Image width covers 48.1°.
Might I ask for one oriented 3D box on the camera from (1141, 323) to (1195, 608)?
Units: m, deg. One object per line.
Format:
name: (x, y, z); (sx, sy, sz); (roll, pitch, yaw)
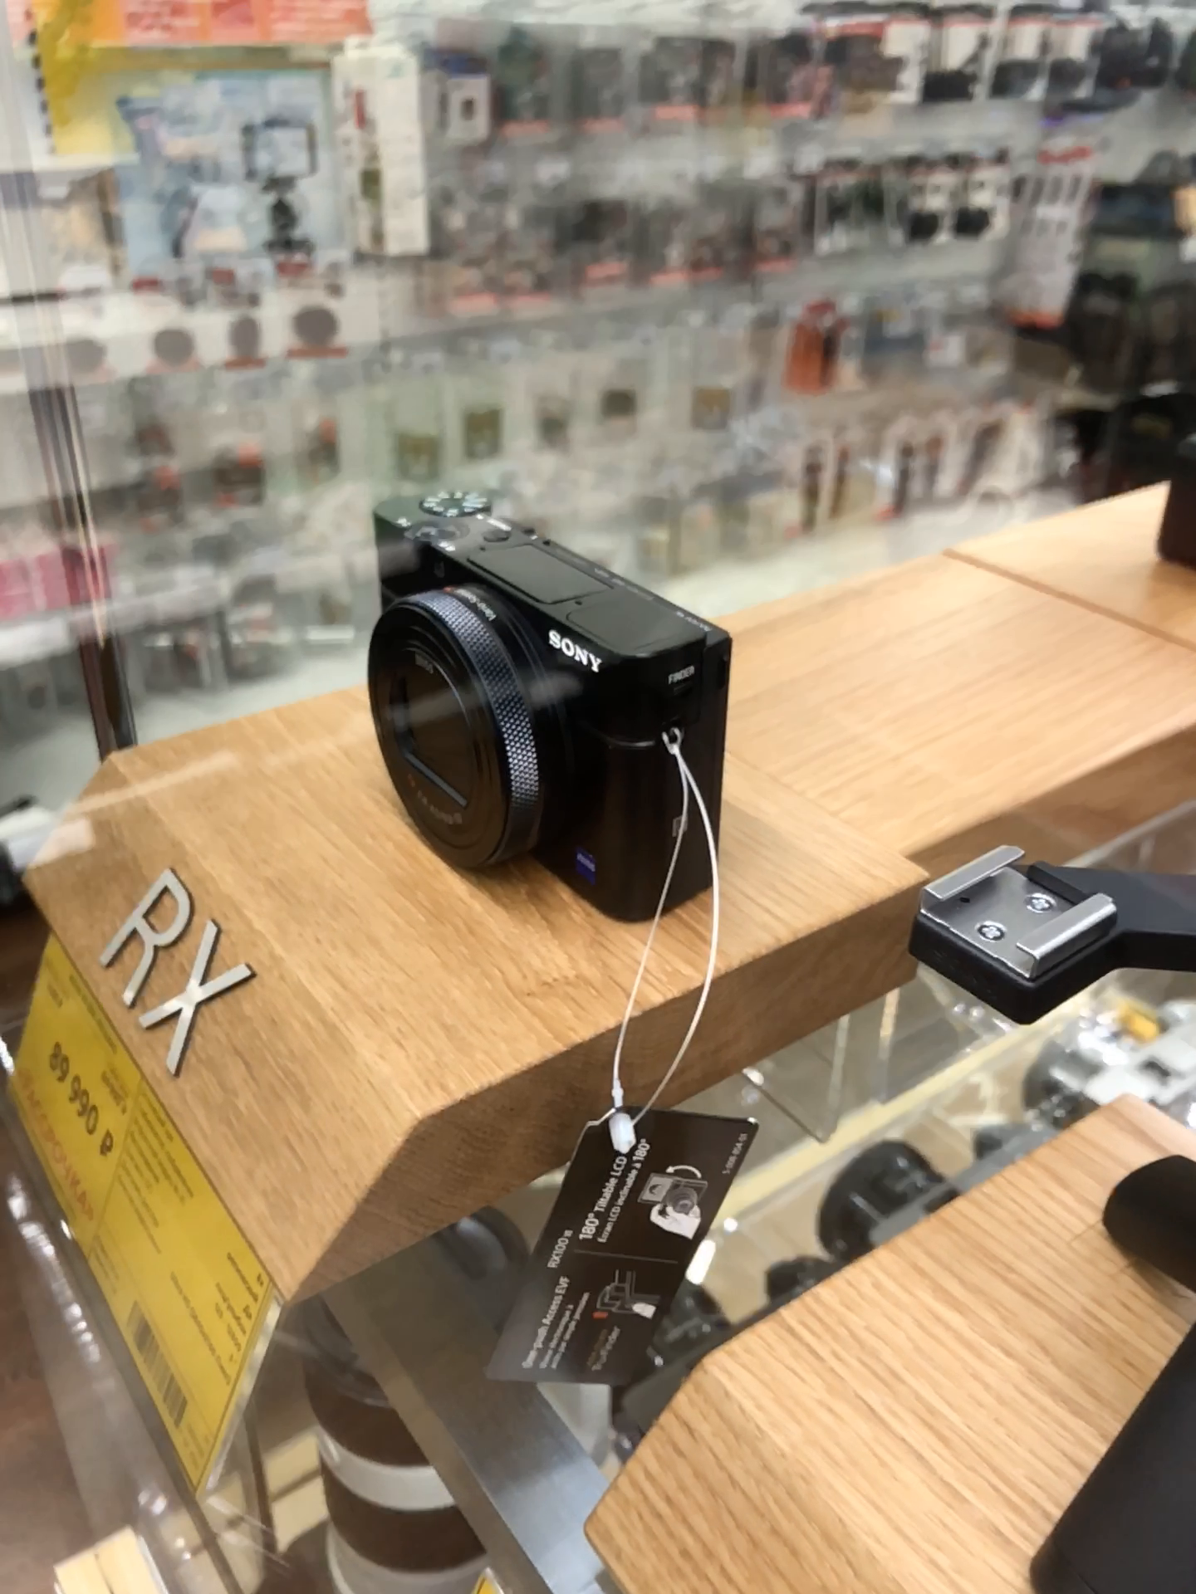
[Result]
camera: (0.205, -0.102, 0.409); (0.052, 0.070, 0.040); (-20, 36, -32)

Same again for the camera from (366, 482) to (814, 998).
camera: (-0.006, -0.018, 0.288); (0.040, 0.070, 0.100); (-19, 35, -31)
